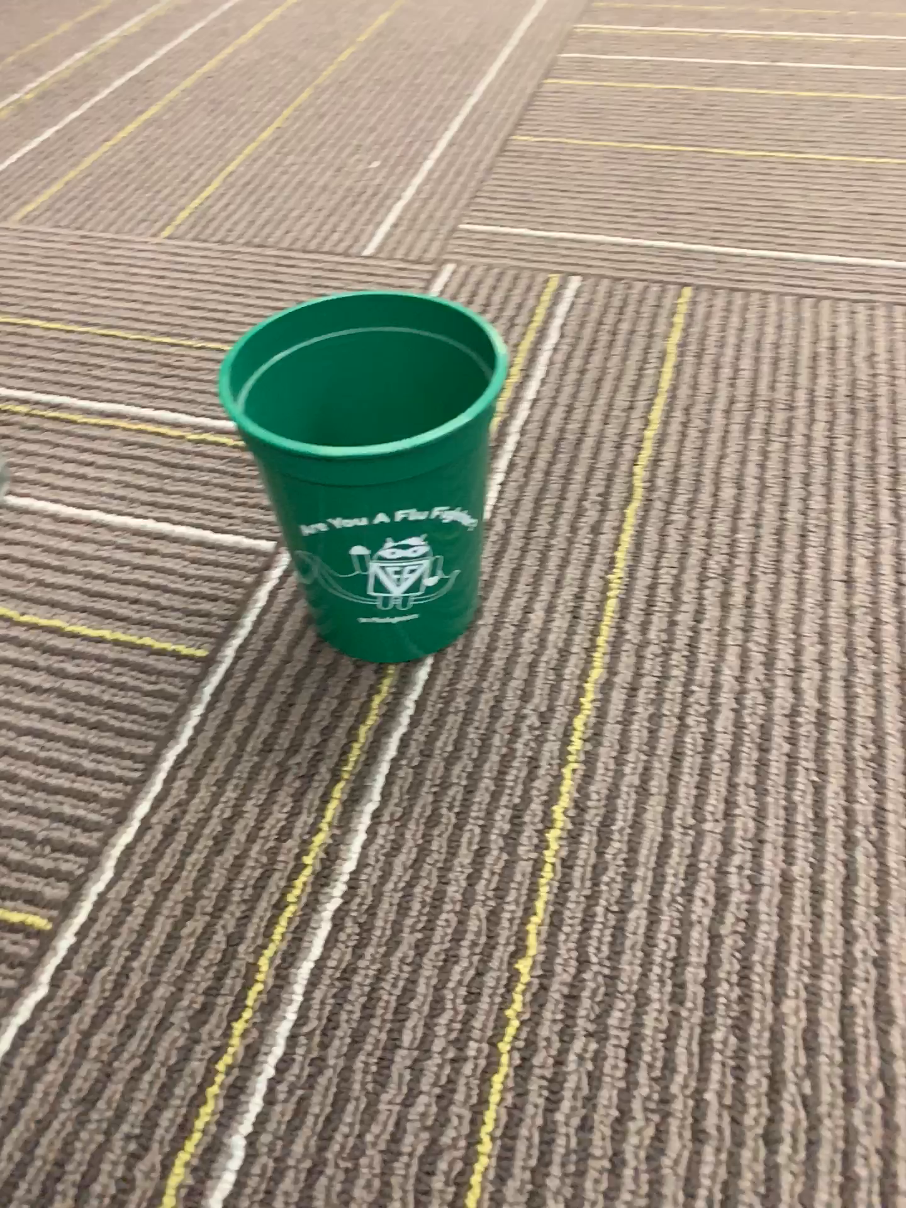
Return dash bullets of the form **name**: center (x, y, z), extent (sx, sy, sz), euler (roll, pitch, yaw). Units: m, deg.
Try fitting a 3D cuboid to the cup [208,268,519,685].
- **cup**: center (-0.026, -0.043, 0.340), extent (0.090, 0.119, 0.080), euler (-5, 47, -1)
